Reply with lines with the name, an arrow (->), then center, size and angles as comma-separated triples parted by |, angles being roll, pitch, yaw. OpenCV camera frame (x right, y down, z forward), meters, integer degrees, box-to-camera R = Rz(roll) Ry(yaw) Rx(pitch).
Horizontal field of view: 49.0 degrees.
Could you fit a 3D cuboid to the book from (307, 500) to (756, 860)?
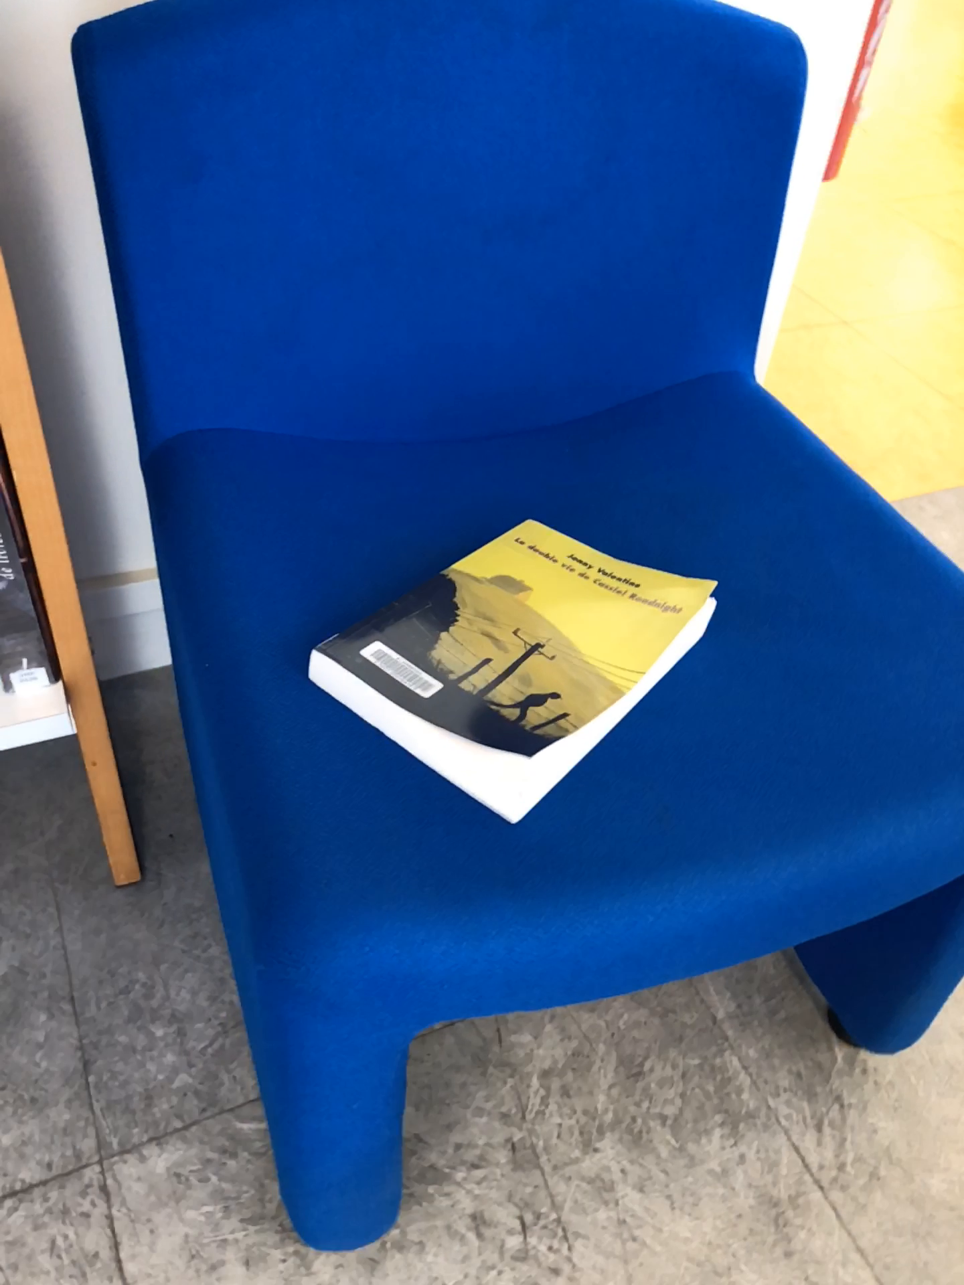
book -> 0.034, 0.005, 0.580 | 0.145, 0.040, 0.216 | 31, 43, 24
